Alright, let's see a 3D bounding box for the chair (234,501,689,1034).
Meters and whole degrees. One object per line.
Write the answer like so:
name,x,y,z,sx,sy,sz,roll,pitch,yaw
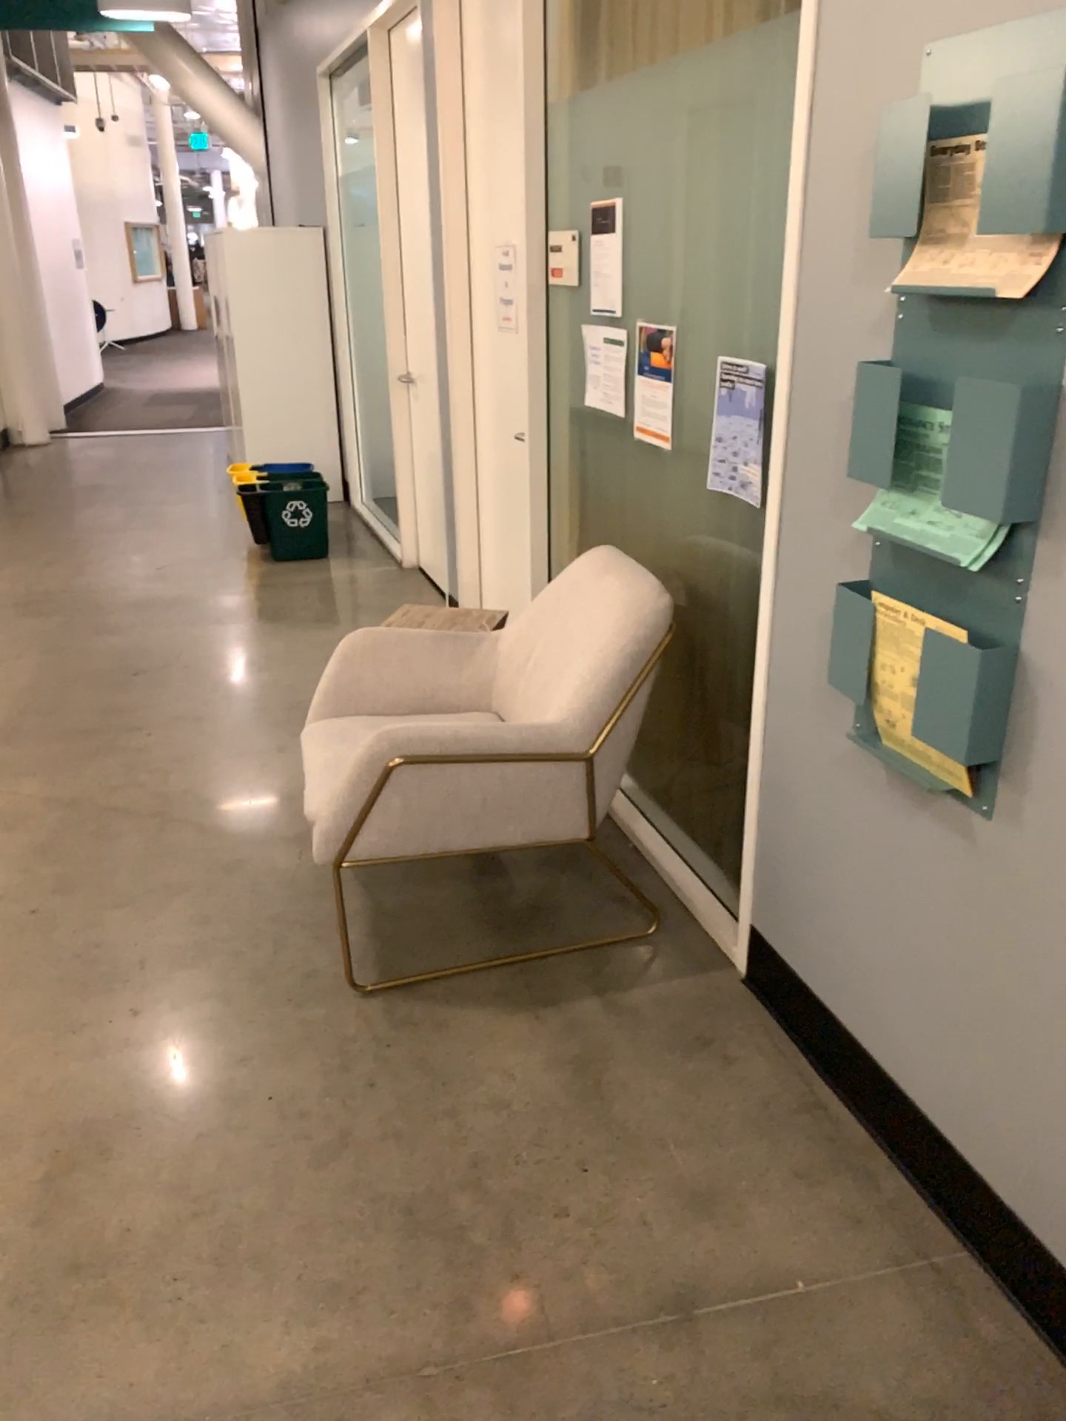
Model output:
chair,-0.205,0.068,2.621,0.870,0.925,0.784,-7,23,-14
